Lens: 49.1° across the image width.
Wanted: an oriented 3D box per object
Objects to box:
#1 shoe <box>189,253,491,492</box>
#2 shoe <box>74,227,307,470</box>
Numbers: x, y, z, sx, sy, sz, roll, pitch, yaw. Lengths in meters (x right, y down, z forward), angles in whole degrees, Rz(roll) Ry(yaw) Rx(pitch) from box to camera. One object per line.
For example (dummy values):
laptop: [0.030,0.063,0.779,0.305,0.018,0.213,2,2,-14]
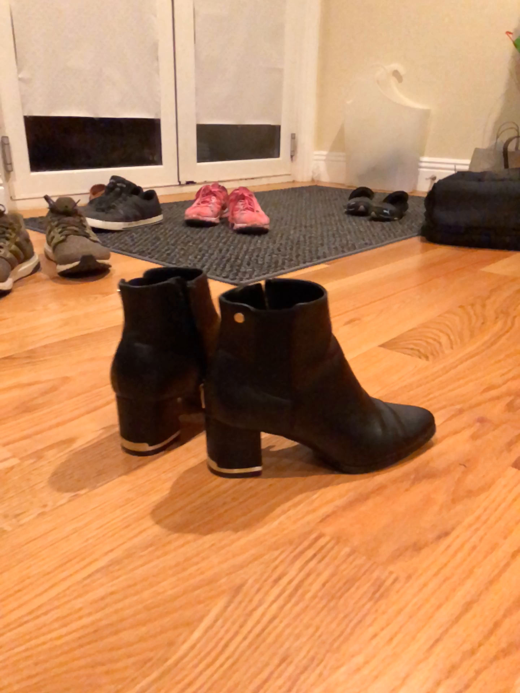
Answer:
shoe: [0.061,0.016,0.514,0.236,0.175,0.095,-3,21,-11]
shoe: [-0.057,-0.016,0.593,0.095,0.175,0.237,15,25,33]
